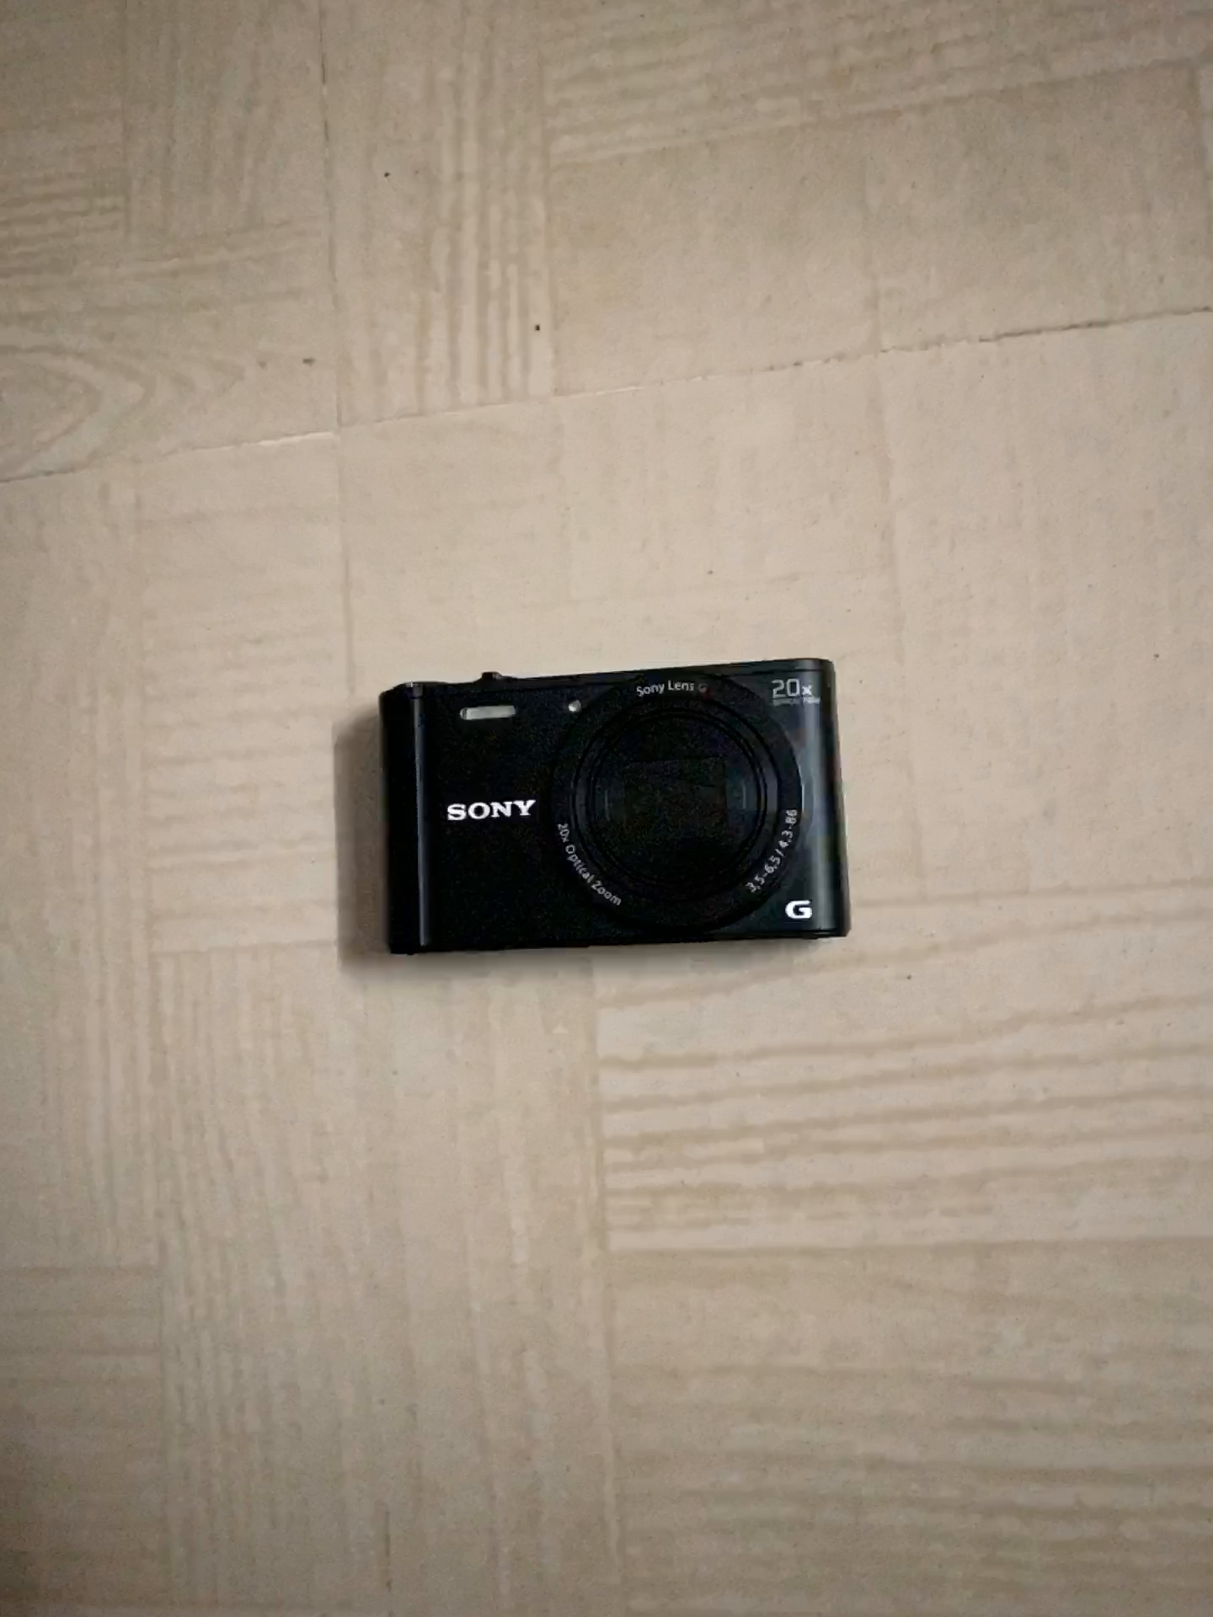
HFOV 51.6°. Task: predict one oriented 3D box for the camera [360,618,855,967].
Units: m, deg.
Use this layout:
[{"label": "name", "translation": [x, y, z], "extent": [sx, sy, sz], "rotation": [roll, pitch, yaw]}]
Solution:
[{"label": "camera", "translation": [0.000, -0.001, 0.249], "extent": [0.092, 0.025, 0.060], "rotation": [-4, 85, 11]}]
